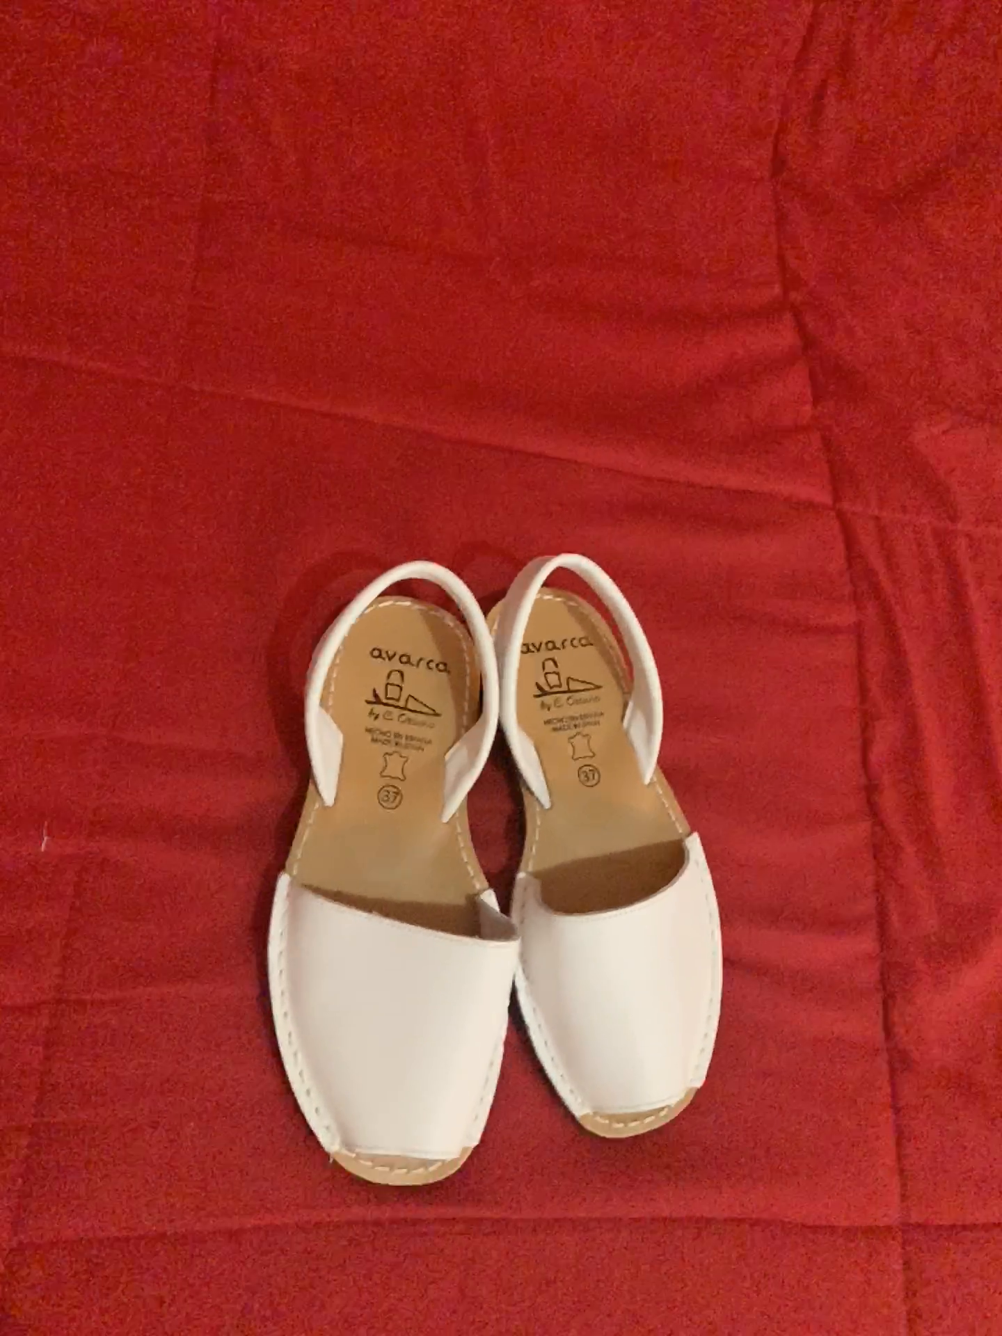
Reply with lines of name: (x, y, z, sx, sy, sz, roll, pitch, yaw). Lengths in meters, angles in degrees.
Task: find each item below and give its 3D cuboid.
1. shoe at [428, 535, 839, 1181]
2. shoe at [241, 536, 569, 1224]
shoe: (0.048, 0.071, 0.446, 0.103, 0.063, 0.249, -6, 72, -20)
shoe: (-0.036, 0.079, 0.414, 0.108, 0.063, 0.248, 7, 68, -15)
